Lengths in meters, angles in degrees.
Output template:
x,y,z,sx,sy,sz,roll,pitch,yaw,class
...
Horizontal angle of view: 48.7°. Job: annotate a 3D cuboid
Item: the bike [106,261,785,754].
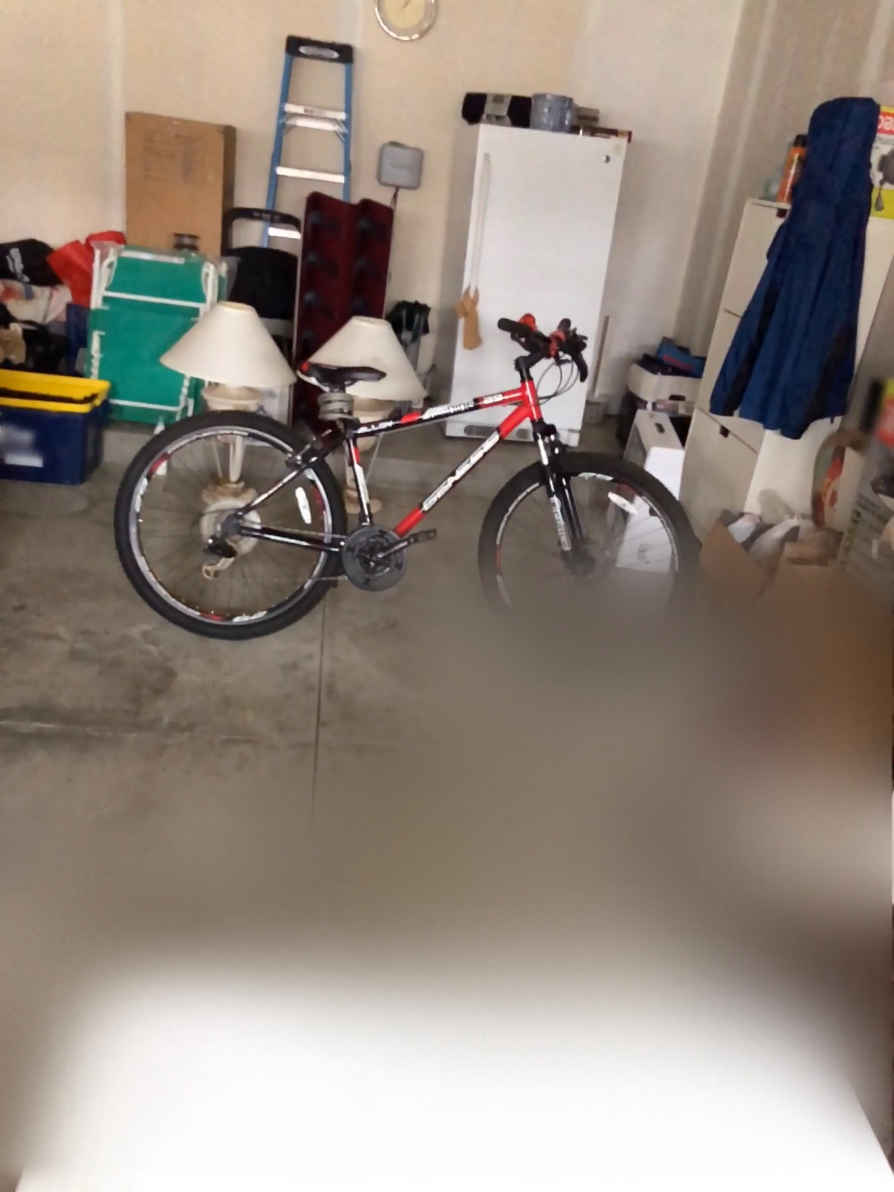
x,y,z,sx,sy,sz,roll,pitch,yaw,class
-0.114,-0.282,2.879,1.668,1.054,0.592,8,23,1,bike
